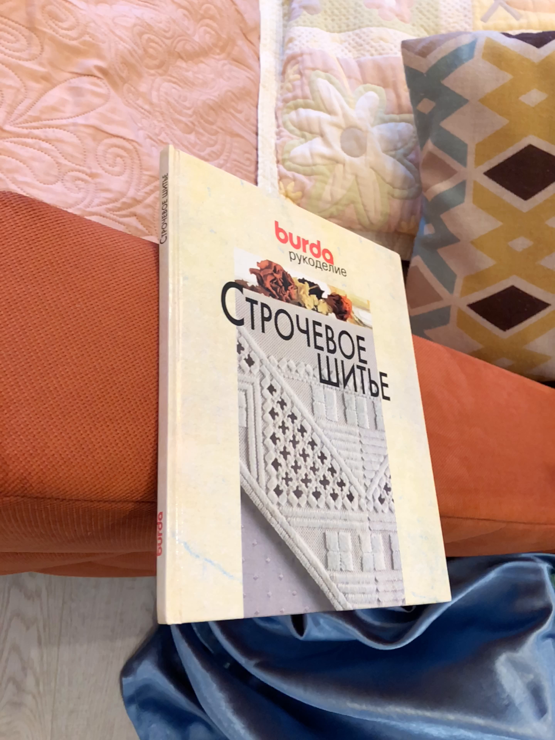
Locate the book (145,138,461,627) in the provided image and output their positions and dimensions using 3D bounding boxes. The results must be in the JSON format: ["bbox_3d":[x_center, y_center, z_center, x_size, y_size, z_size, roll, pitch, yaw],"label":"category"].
[{"bbox_3d":[0.024,0.011,0.379,0.216,0.020,0.258,14,65,-38],"label":"book"}]
